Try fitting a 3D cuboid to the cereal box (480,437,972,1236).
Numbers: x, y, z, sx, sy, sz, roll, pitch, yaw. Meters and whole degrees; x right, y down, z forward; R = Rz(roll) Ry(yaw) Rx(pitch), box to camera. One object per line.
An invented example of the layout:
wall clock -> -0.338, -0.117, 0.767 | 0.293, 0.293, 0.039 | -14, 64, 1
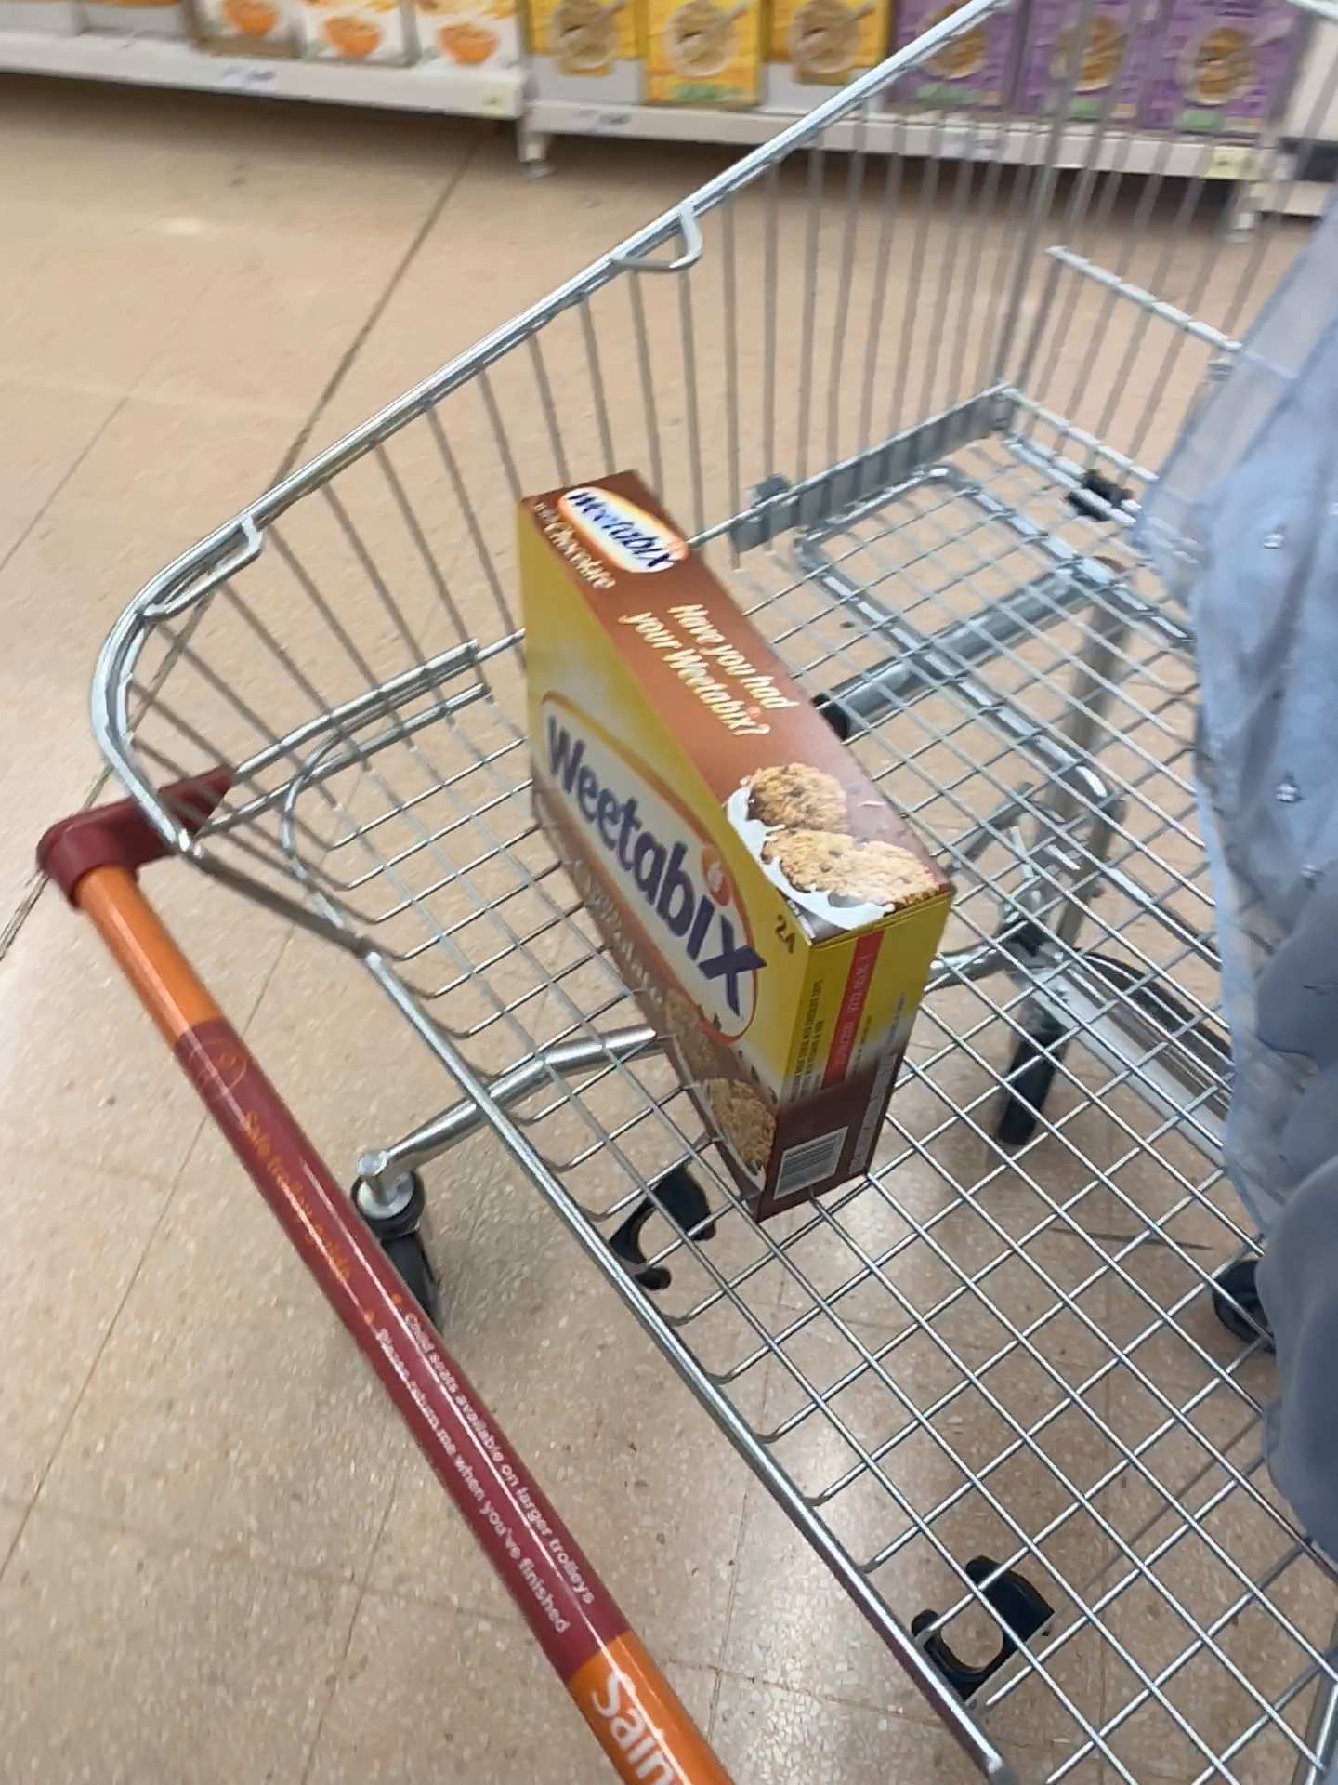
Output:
cereal box -> 0.006, -0.022, 0.540 | 0.060, 0.188, 0.252 | -20, 56, -16
